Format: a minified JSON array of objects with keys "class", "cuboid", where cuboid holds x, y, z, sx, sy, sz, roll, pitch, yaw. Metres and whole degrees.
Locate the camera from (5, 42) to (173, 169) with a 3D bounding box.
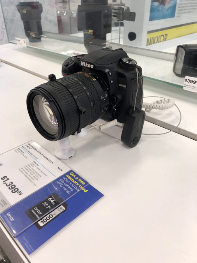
[{"class":"camera","cuboid":[-0.008,-0.060,0.330,0.160,0.100,0.170,24,39,35]}]
